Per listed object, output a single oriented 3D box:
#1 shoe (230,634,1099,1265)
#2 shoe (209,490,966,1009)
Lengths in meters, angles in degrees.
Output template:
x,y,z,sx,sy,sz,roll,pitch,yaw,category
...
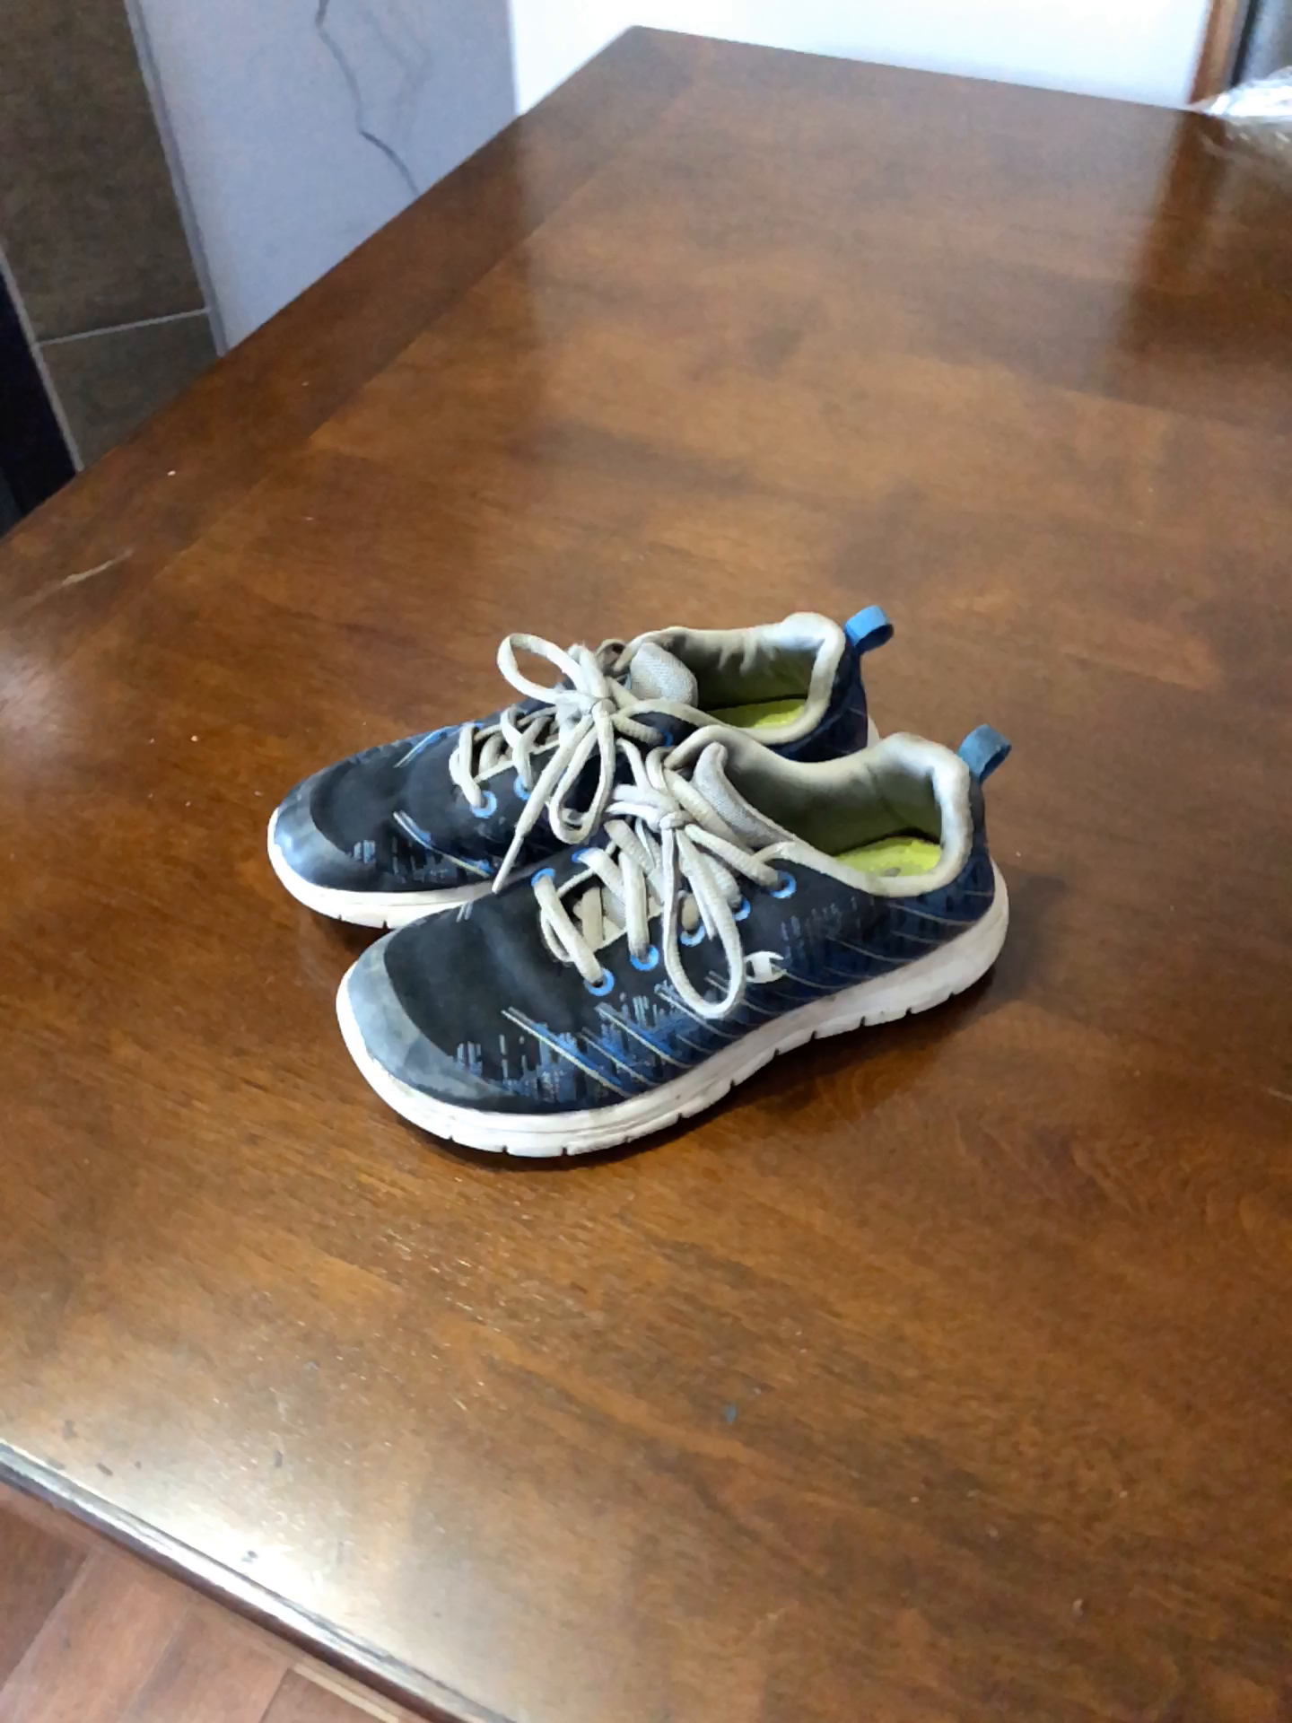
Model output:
x,y,z,sx,sy,sz,roll,pitch,yaw,category
0.005,0.022,0.447,0.230,0.090,0.100,-17,51,-13,shoe
-0.021,-0.041,0.483,0.220,0.090,0.100,-12,50,-10,shoe
